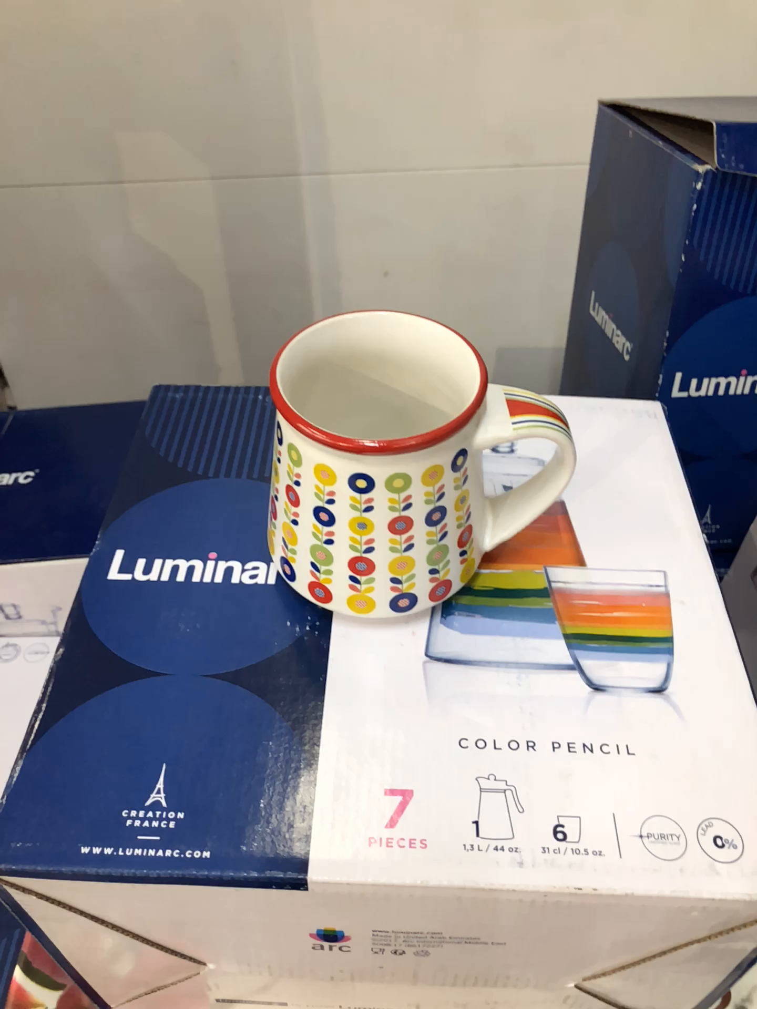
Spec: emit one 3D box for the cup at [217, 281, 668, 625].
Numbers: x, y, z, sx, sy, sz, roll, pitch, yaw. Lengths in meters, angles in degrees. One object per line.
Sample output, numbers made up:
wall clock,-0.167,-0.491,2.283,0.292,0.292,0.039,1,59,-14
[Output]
cup,0.020,-0.017,0.303,0.130,0.089,0.081,-1,46,2
